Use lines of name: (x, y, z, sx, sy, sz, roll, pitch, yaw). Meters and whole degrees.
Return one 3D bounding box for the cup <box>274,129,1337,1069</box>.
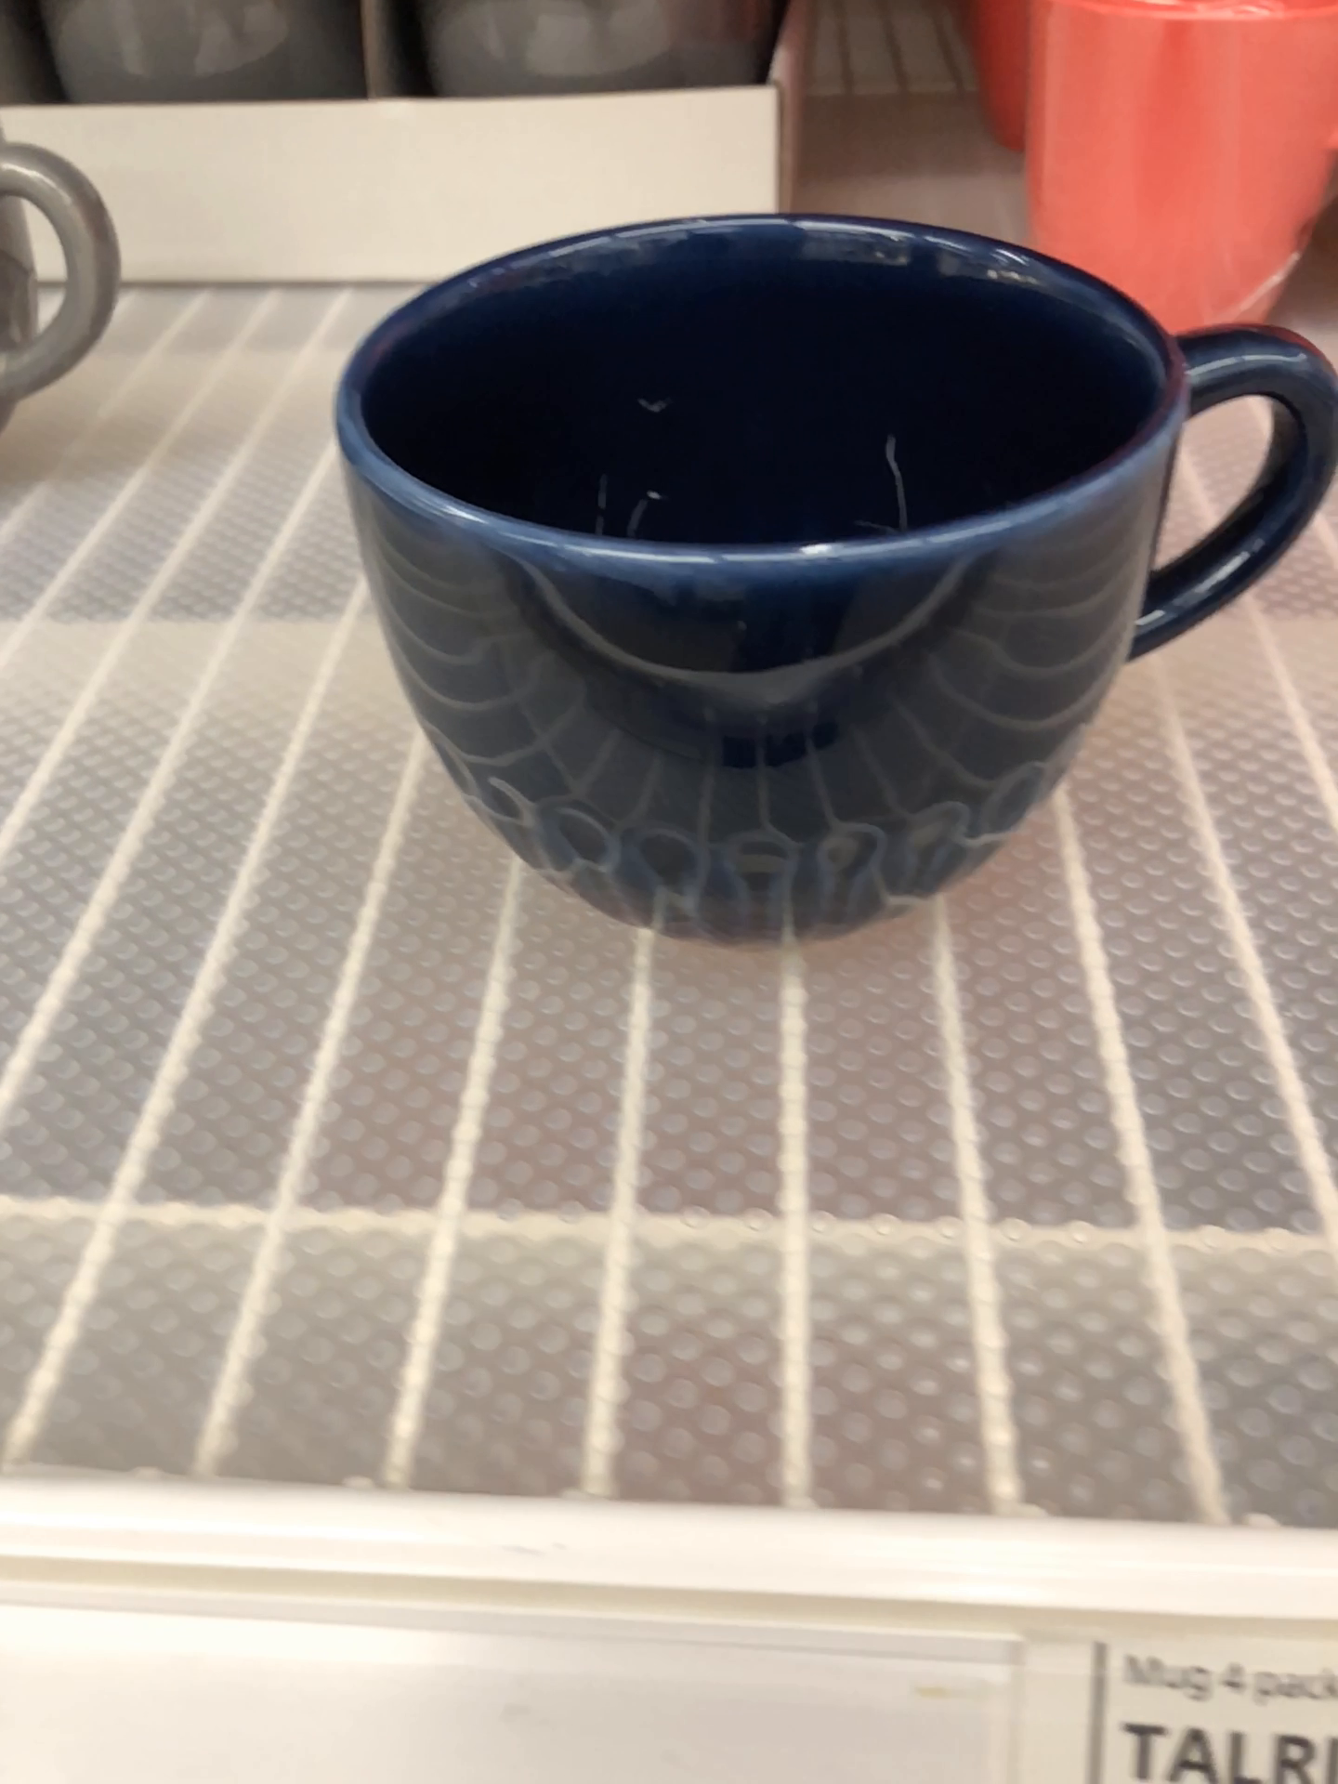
cup: (0.023, -0.050, 0.205, 0.130, 0.060, 0.110, -12, 41, -11)
